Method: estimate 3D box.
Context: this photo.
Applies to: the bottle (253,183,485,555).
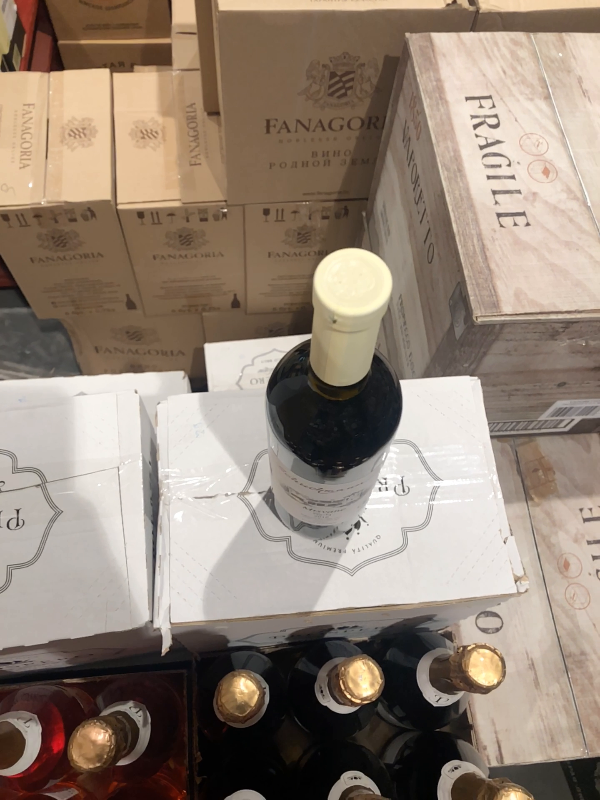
[{"bbox_3d":[0.021,0.014,0.373,0.080,0.289,0.073,1,64,-3],"label":"bottle"}]
